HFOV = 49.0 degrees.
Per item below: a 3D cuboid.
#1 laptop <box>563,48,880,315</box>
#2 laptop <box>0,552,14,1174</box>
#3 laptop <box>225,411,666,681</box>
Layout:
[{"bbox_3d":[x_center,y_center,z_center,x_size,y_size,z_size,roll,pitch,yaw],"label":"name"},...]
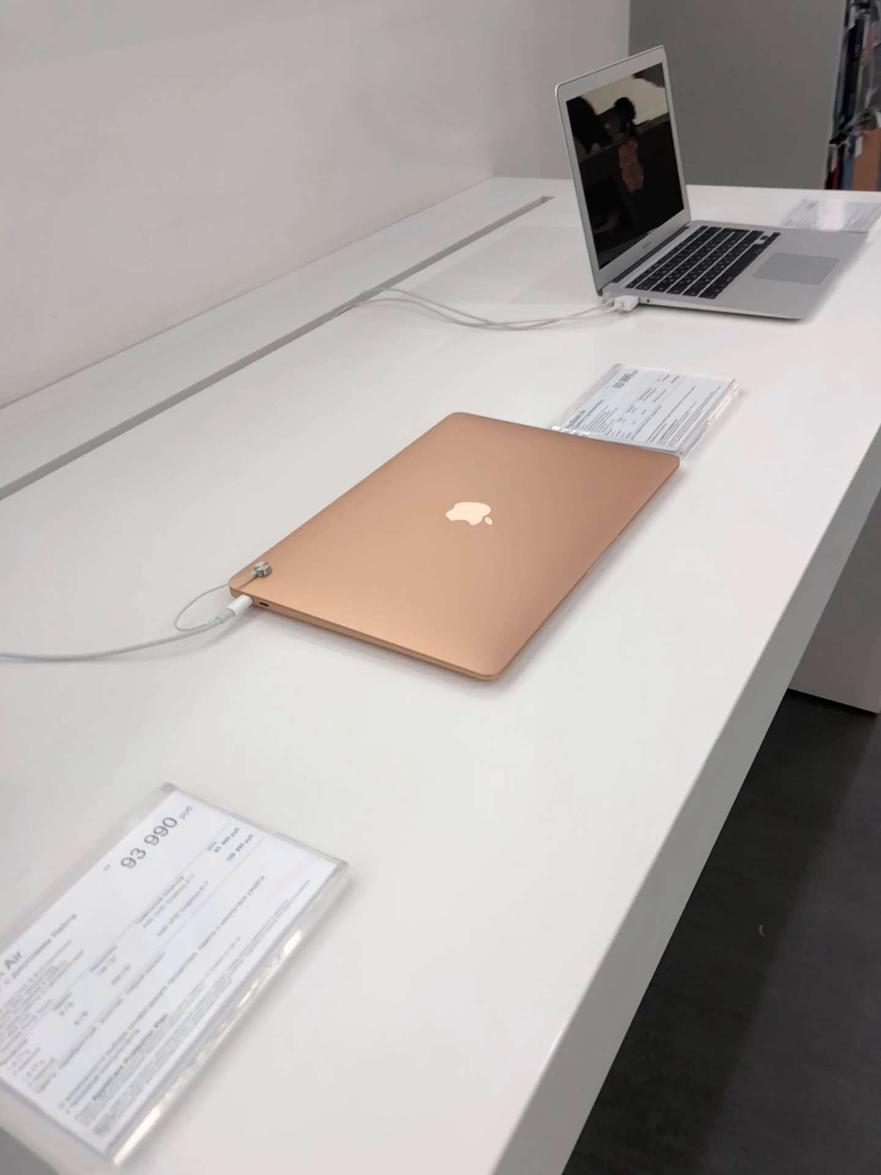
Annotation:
[{"bbox_3d":[0.330,-0.479,1.110,0.257,0.213,0.347,13,37,25],"label":"laptop"},{"bbox_3d":[-0.363,0.182,0.248,0.312,0.180,0.304,16,40,27],"label":"laptop"},{"bbox_3d":[0.016,-0.051,0.706,0.201,0.005,0.295,16,40,27],"label":"laptop"}]
